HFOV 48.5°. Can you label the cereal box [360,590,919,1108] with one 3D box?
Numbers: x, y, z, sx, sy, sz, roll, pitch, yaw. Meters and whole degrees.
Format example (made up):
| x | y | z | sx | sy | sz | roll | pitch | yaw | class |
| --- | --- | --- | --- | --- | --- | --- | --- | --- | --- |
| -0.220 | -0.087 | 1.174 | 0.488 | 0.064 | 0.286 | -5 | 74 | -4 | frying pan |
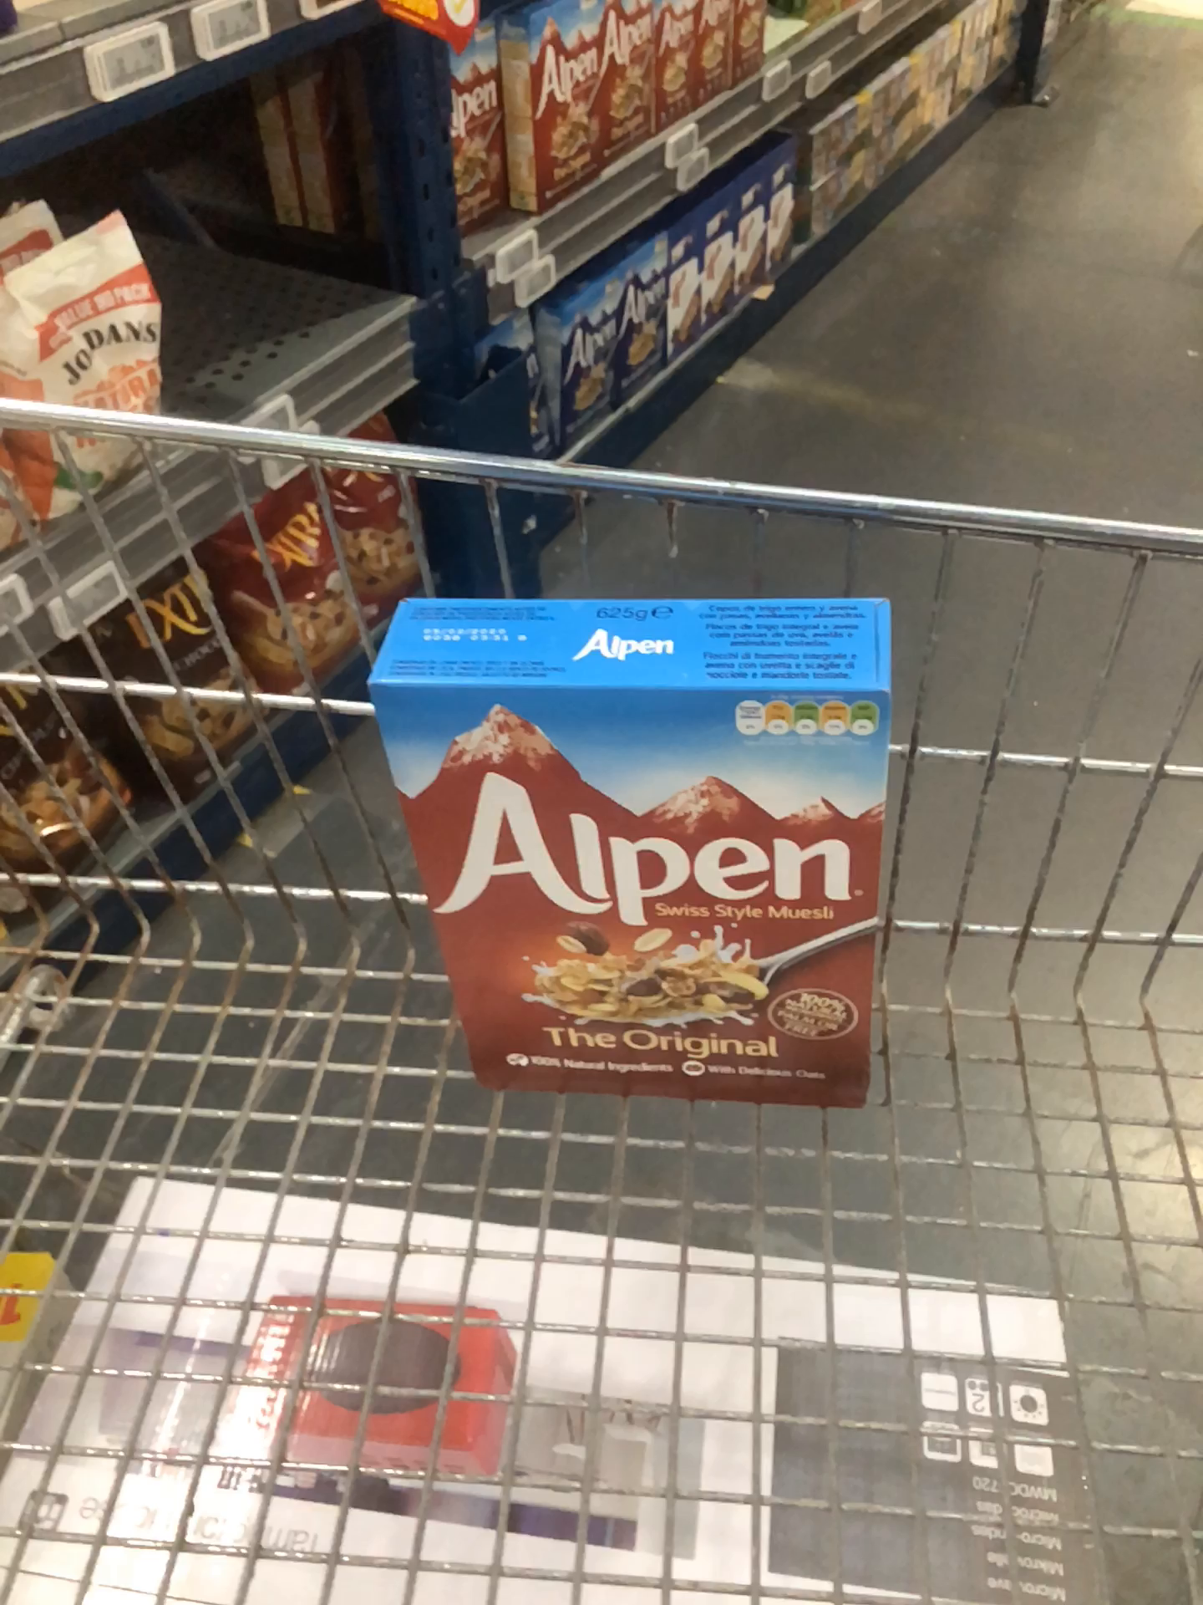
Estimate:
| x | y | z | sx | sy | sz | roll | pitch | yaw | class |
| --- | --- | --- | --- | --- | --- | --- | --- | --- | --- |
| 0.021 | 0.026 | 0.524 | 0.180 | 0.219 | 0.060 | 2 | 44 | 7 | cereal box |
